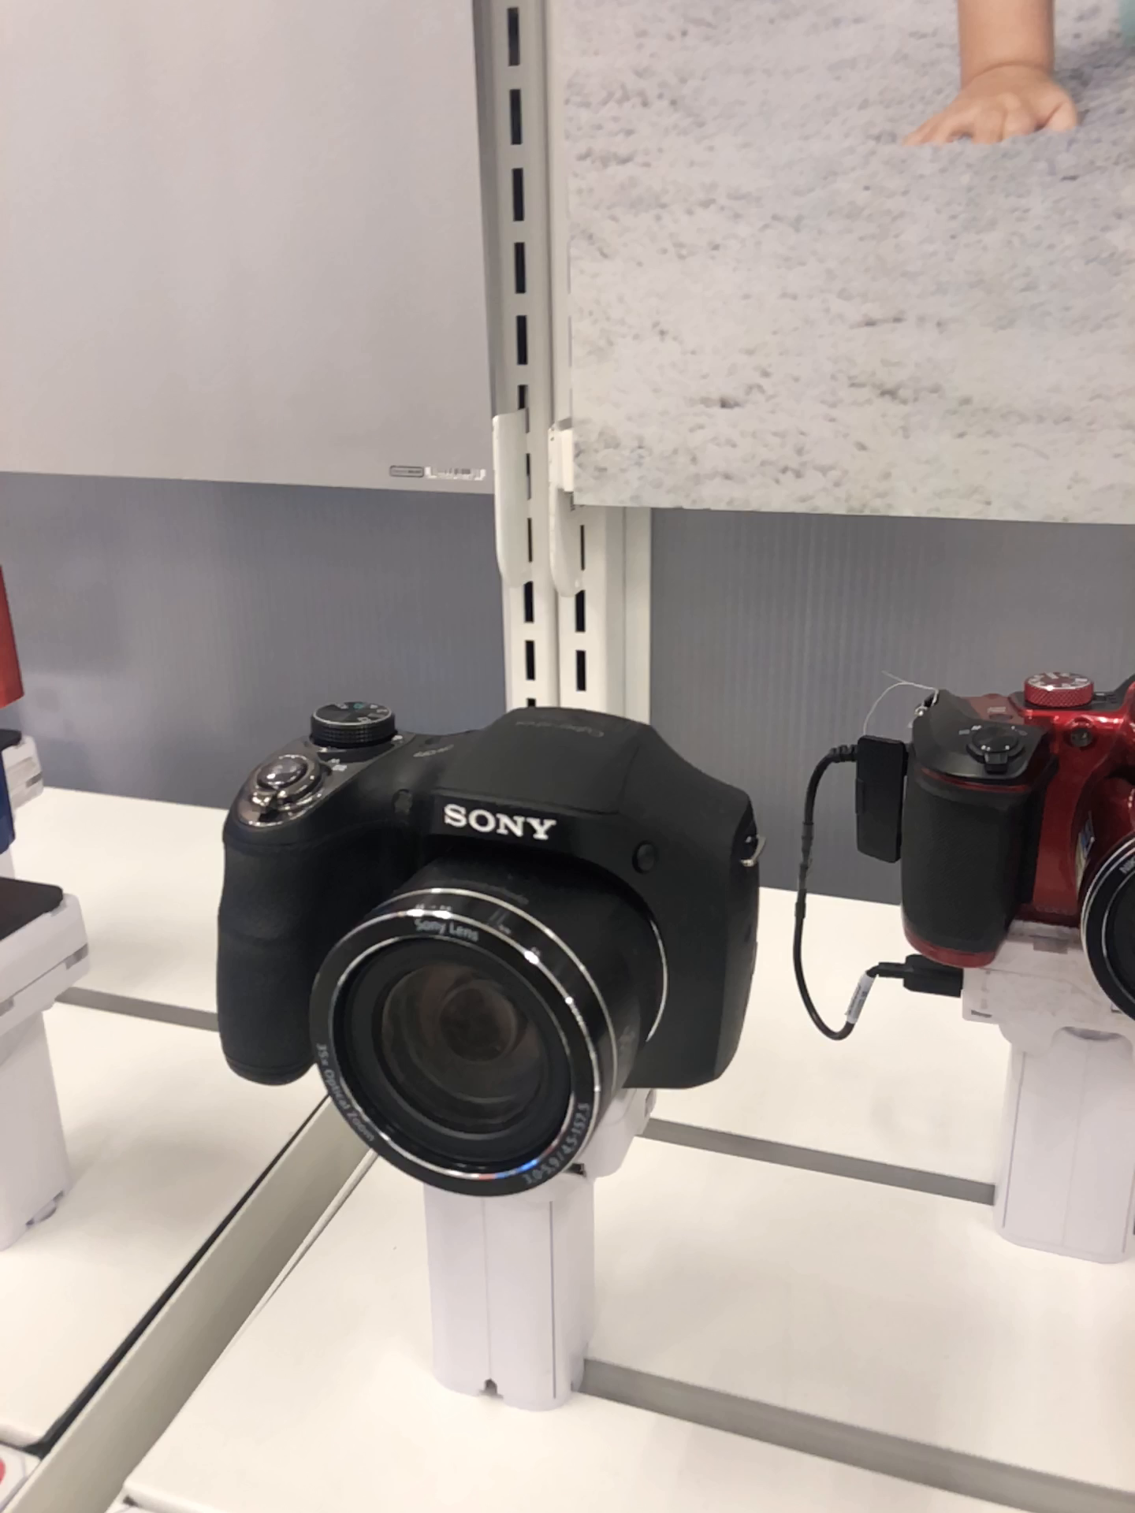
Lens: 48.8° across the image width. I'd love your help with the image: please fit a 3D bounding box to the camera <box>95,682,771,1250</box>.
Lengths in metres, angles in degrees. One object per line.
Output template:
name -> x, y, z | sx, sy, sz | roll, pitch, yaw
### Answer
camera -> -0.022, 0.037, 0.280 | 0.119, 0.076, 0.087 | 6, 22, 16
